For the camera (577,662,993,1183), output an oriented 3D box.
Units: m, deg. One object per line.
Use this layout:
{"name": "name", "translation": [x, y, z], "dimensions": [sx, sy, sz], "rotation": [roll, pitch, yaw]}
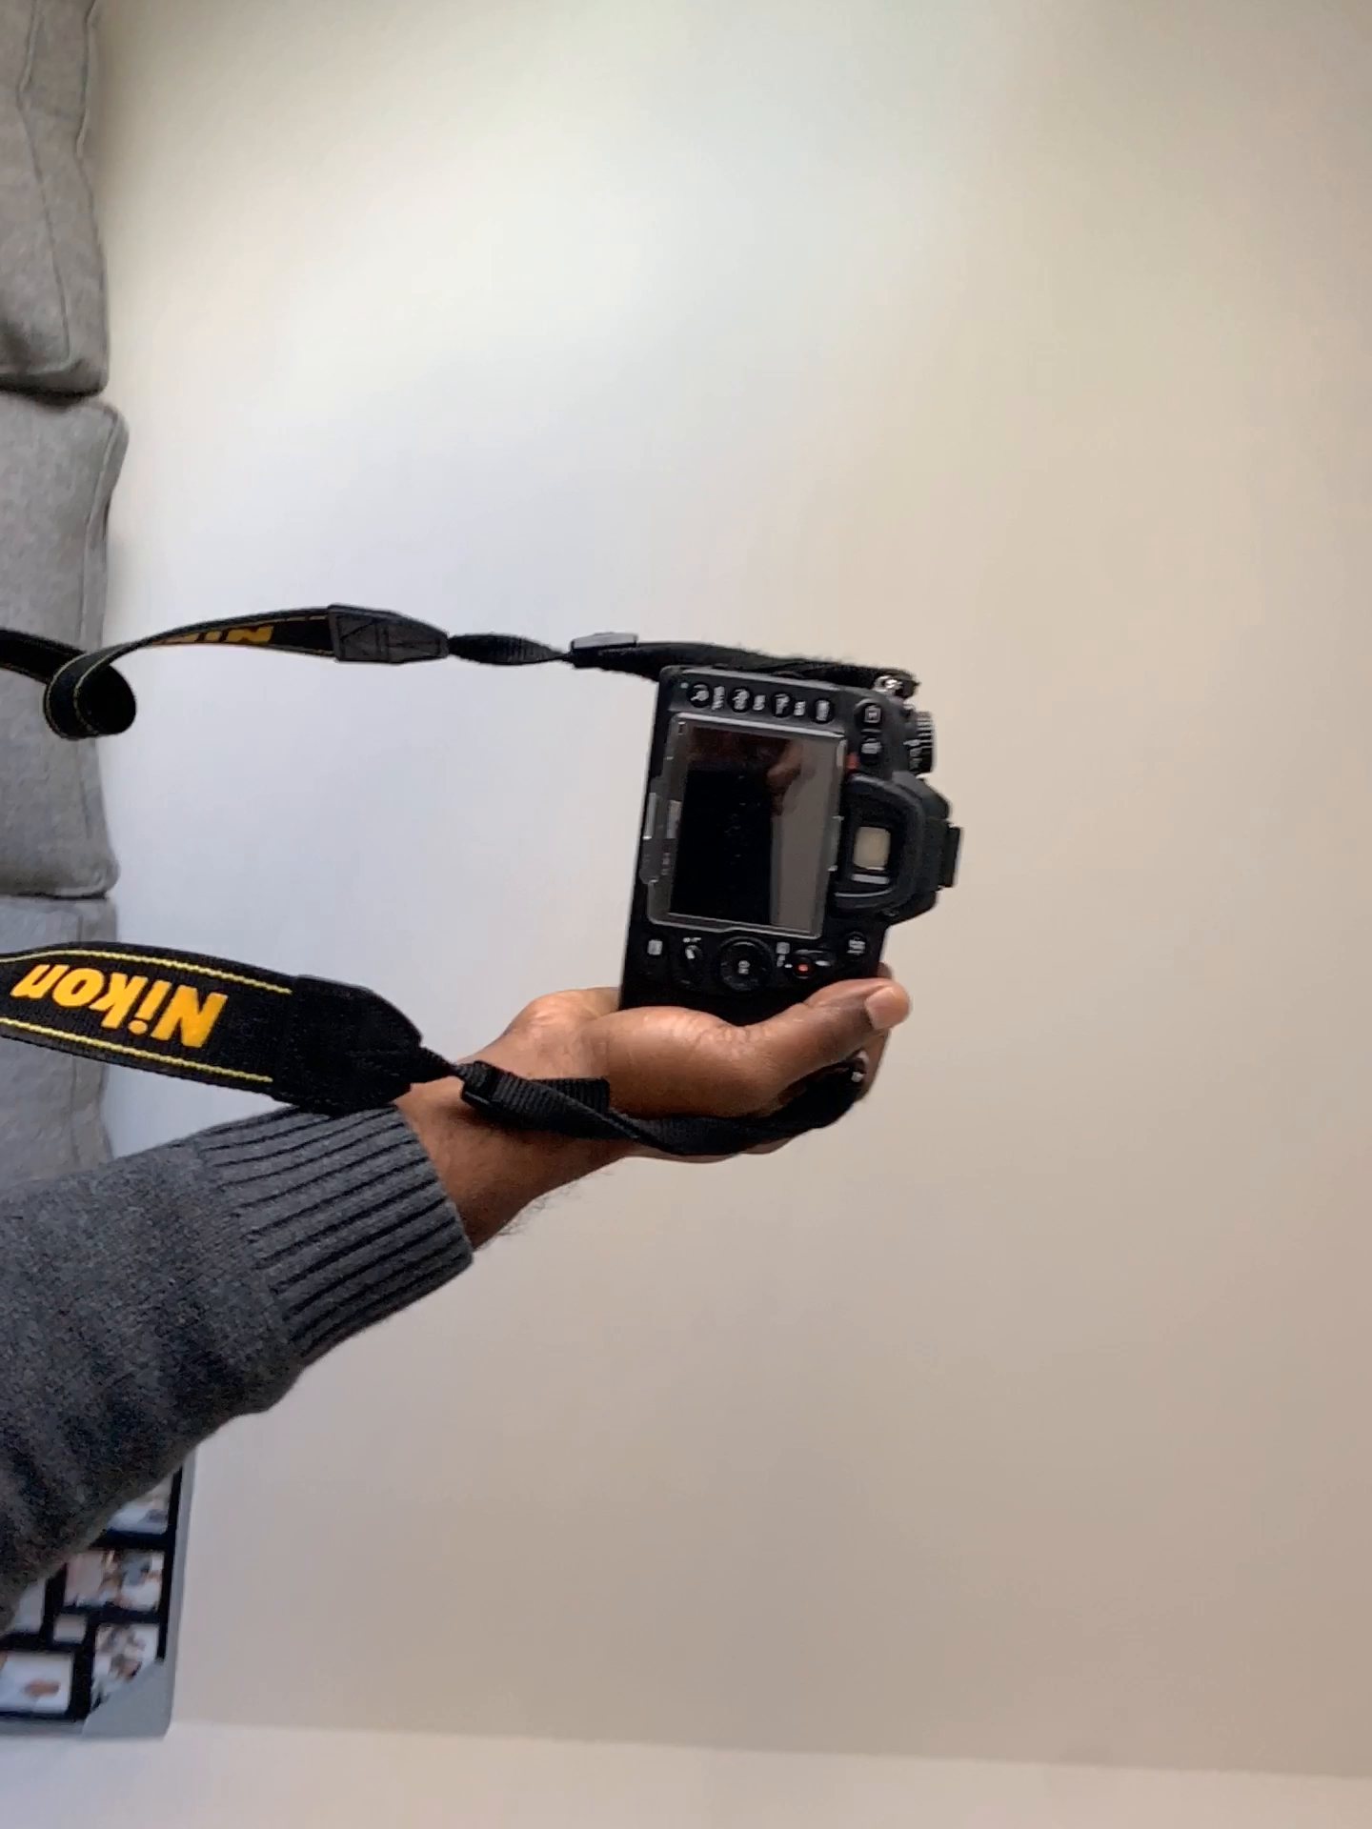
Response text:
{"name": "camera", "translation": [0.031, -0.005, 0.560], "dimensions": [0.170, 0.114, 0.160], "rotation": [-102, -158, -83]}
